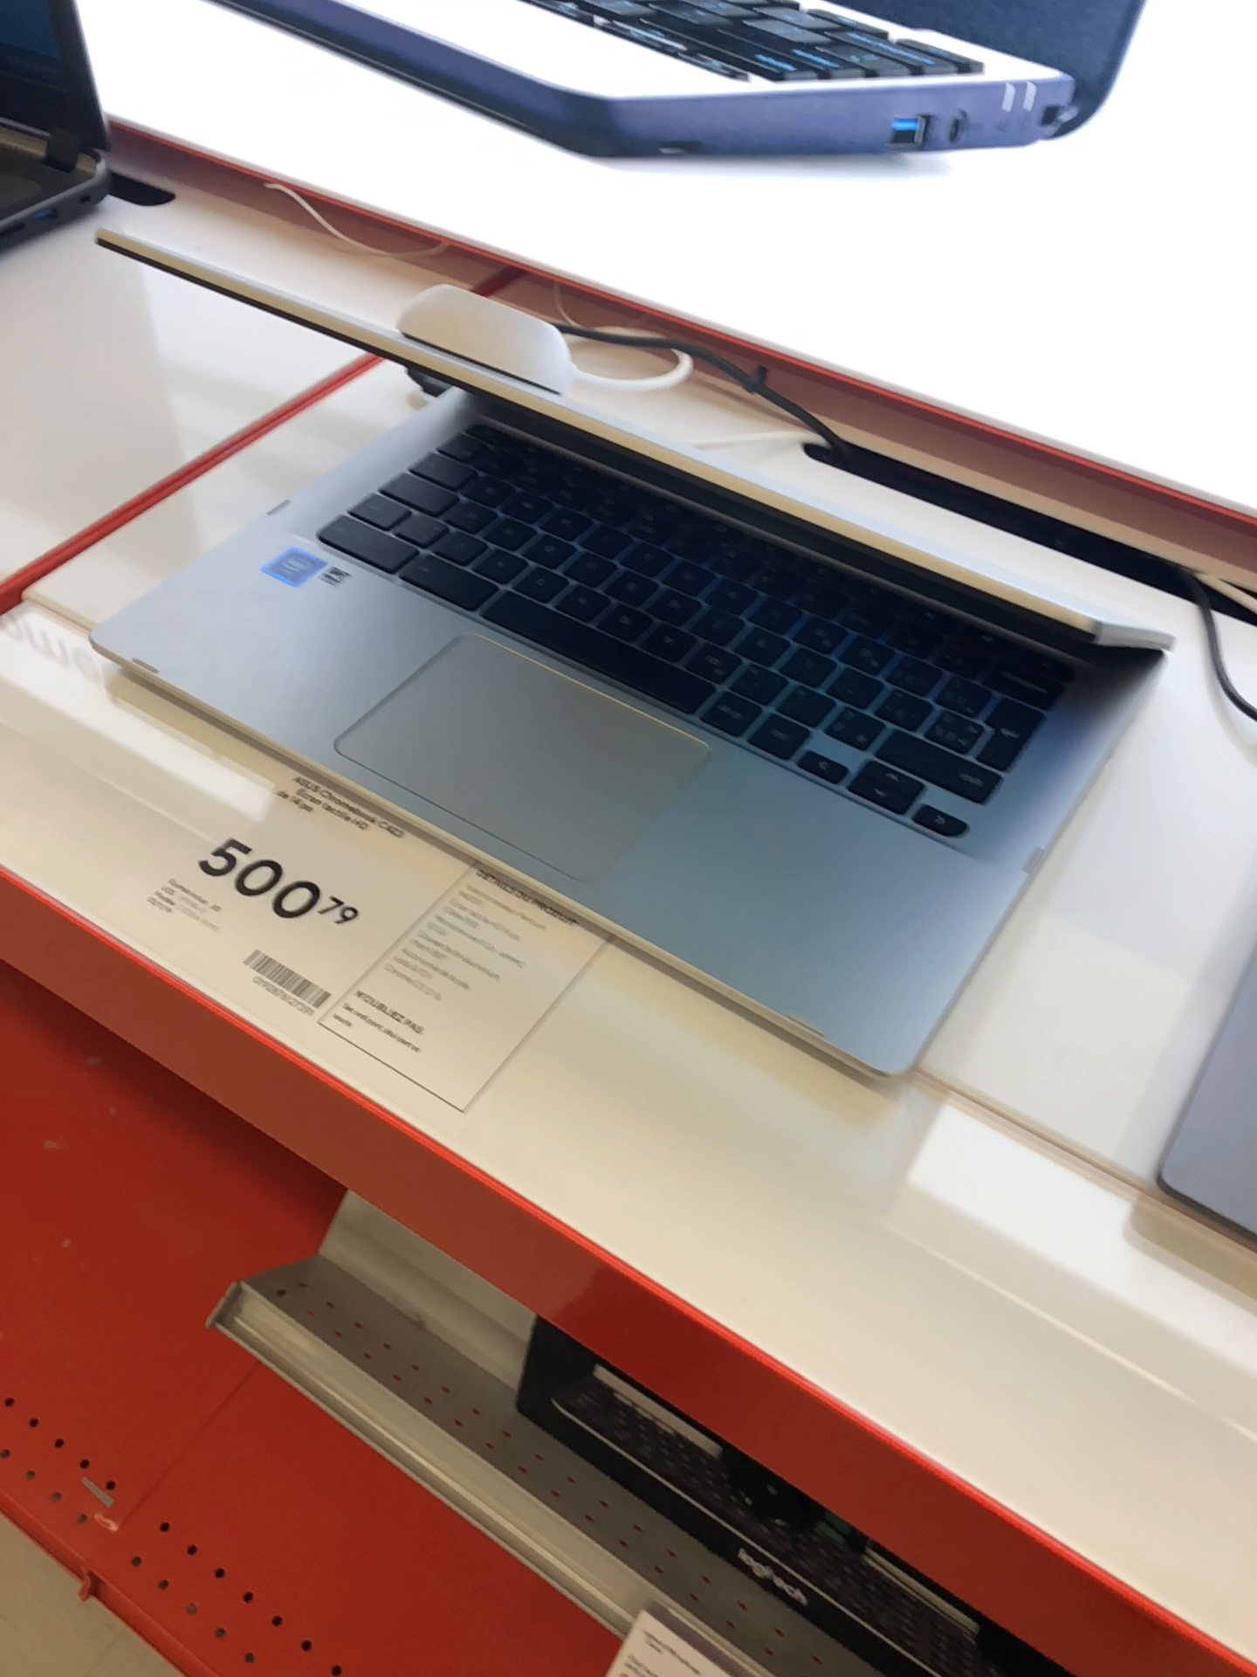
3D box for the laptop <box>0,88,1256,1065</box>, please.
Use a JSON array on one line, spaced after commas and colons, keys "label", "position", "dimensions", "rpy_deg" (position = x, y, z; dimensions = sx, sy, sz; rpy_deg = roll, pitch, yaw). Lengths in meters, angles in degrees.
[{"label": "laptop", "position": [0.004, -0.110, 0.453], "dimensions": [0.312, 0.119, 0.213], "rpy_deg": [27, 52, 20]}]
